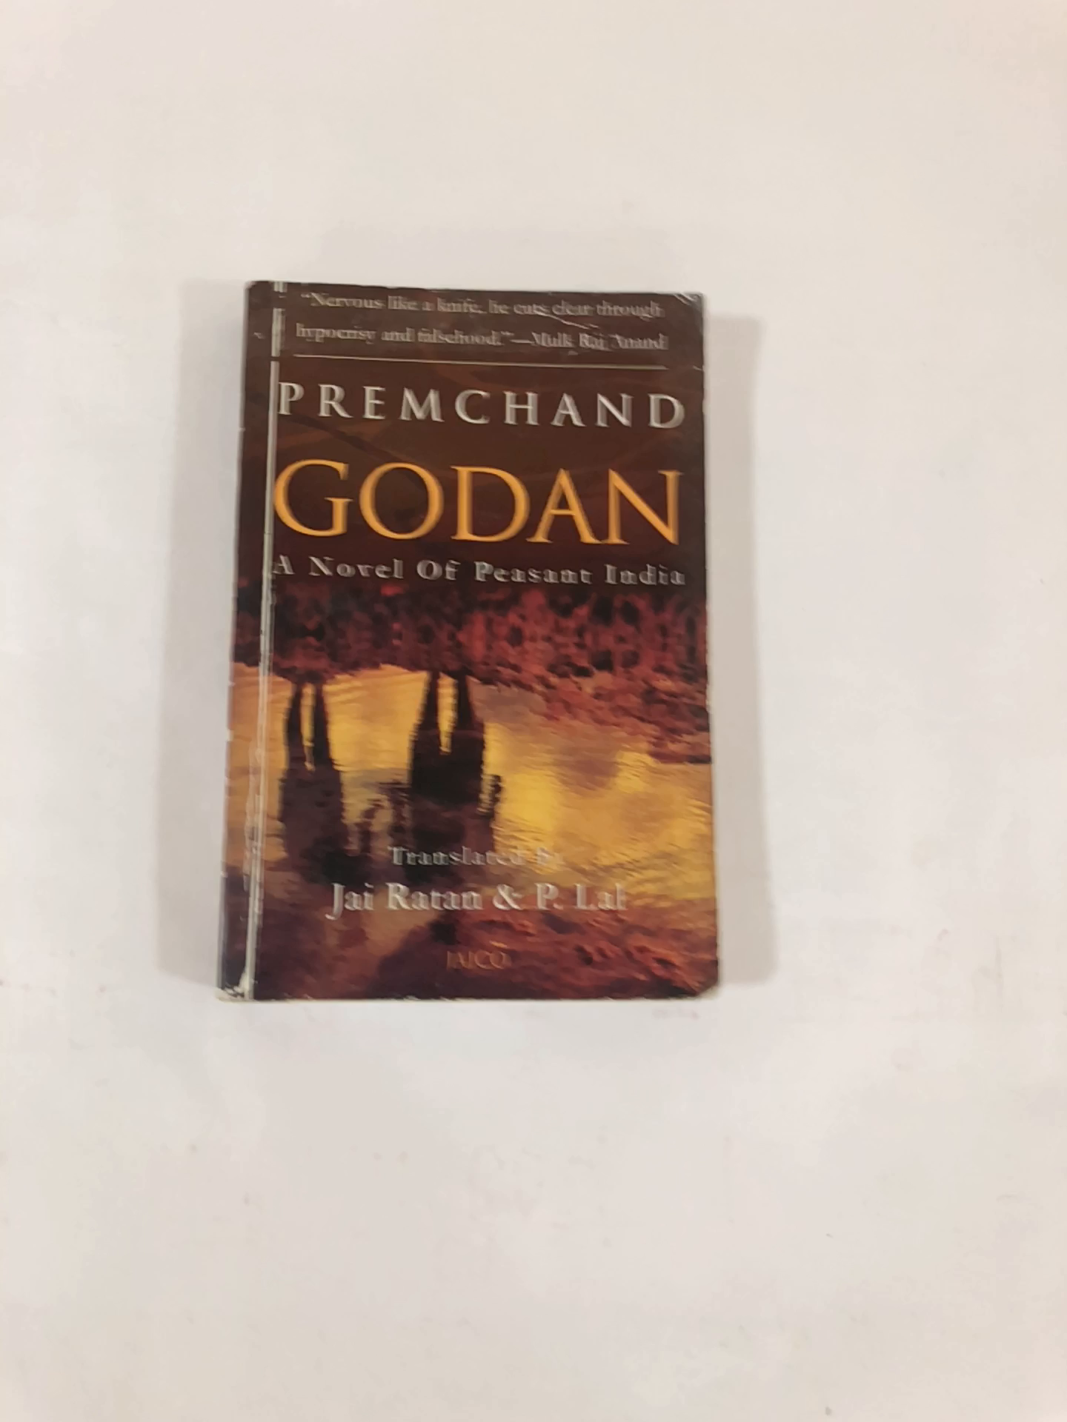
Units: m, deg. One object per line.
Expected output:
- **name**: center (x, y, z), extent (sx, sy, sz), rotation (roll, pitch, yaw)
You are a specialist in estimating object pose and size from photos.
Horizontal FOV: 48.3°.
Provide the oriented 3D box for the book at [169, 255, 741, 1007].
- **book**: center (-0.019, -0.024, 0.345), extent (0.150, 0.030, 0.210), rotation (1, 80, -4)
